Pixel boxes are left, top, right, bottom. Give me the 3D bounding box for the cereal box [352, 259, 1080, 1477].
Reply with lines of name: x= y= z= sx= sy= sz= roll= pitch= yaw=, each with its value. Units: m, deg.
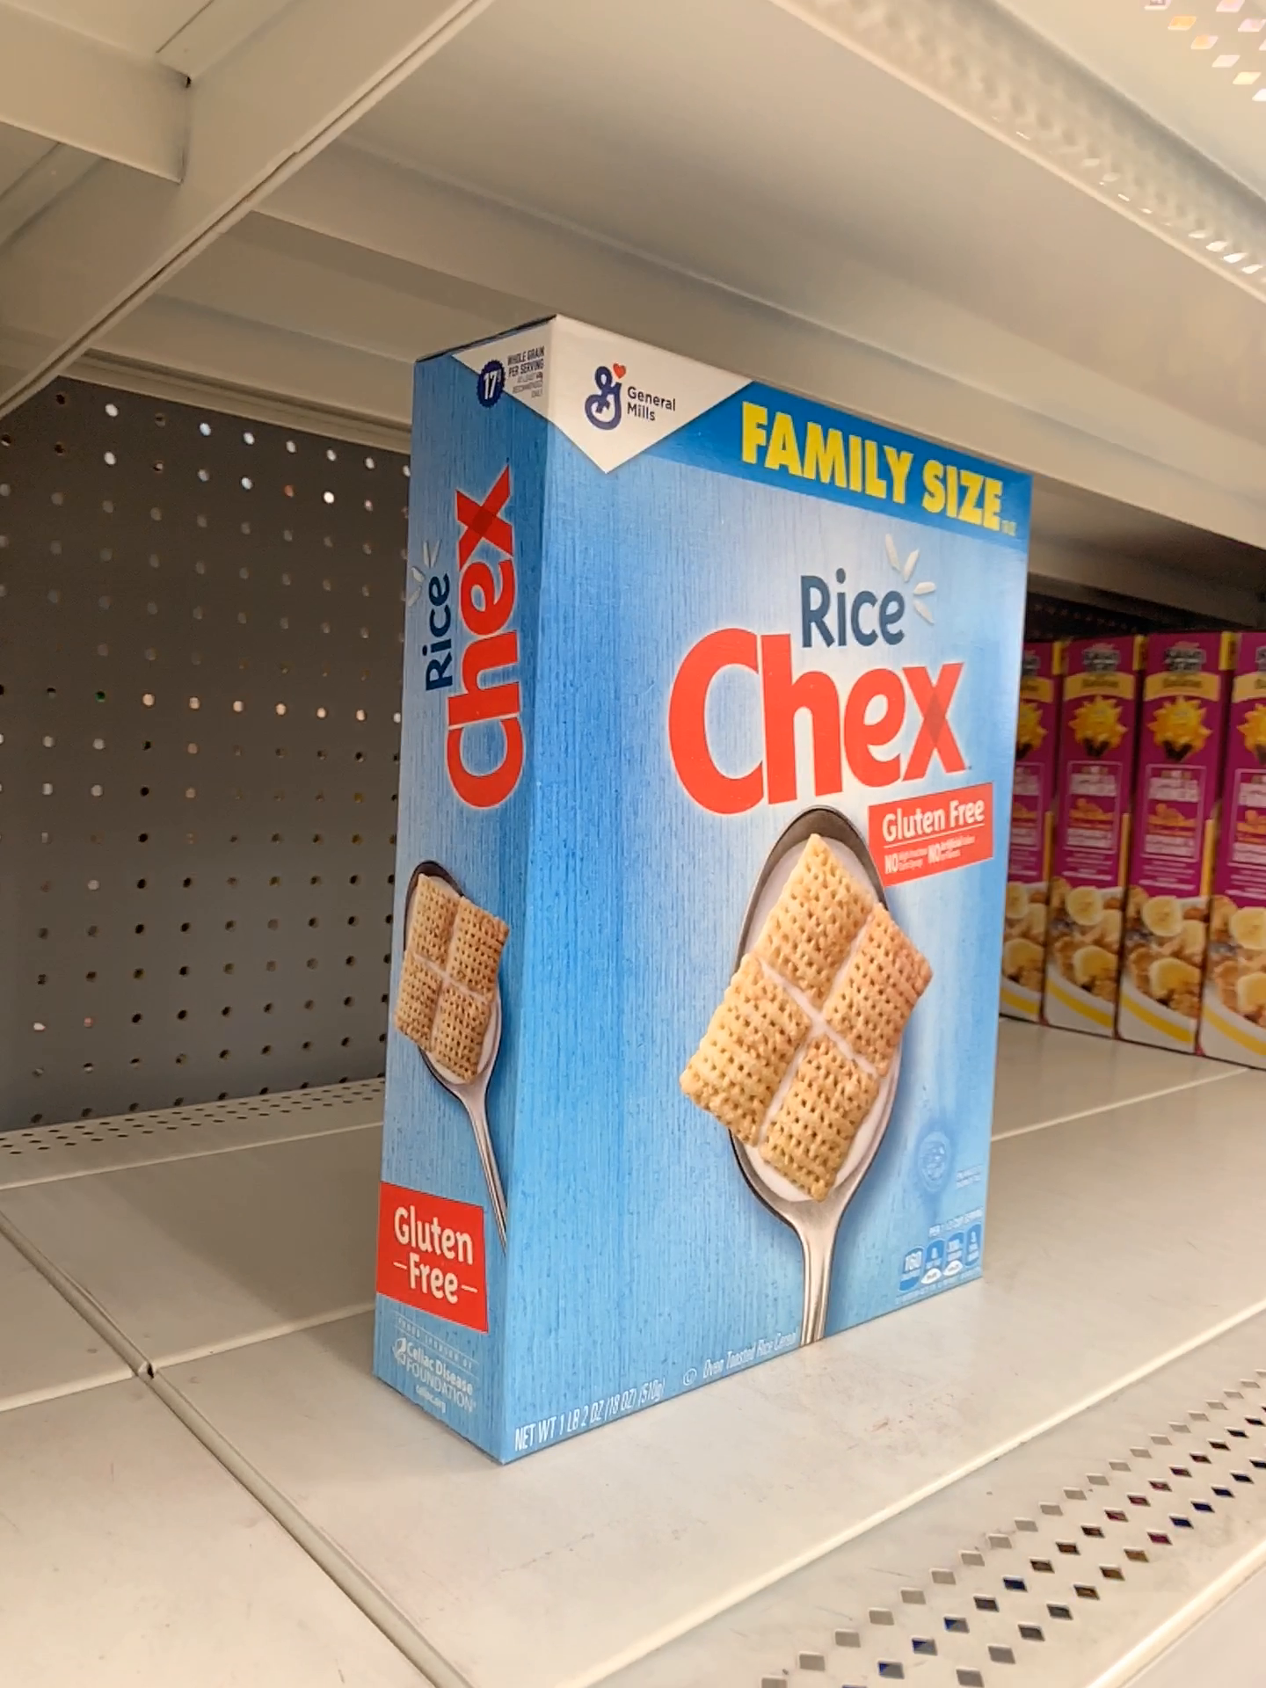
cereal box: x=0.041 y=0.006 z=0.453 sx=0.250 sy=0.320 sz=0.080 roll=0 pitch=4 yaw=-41
